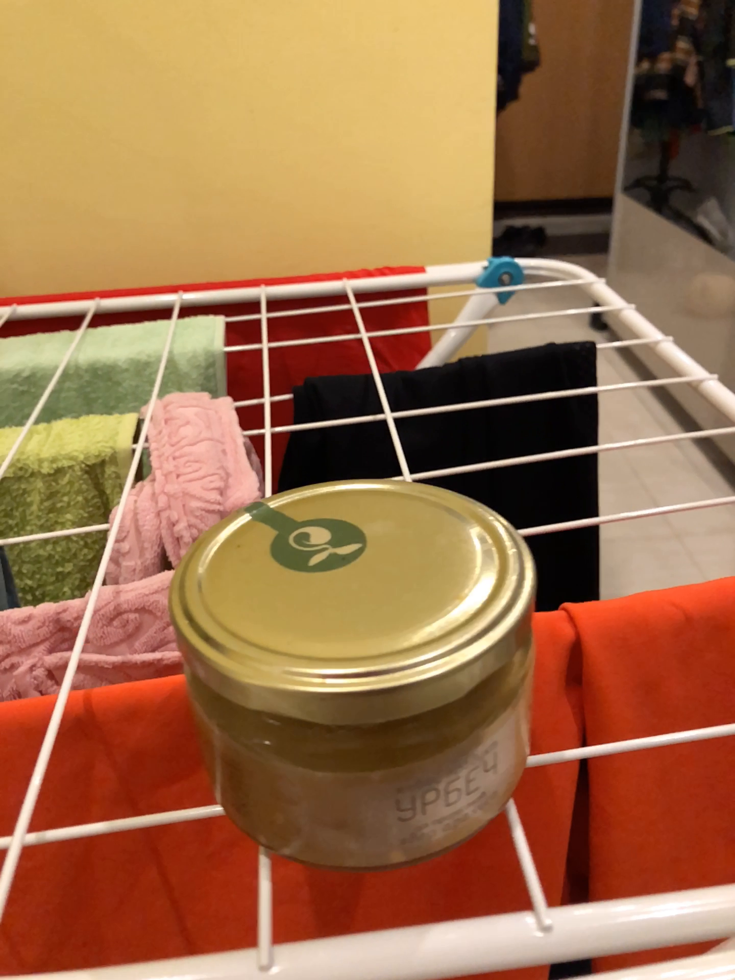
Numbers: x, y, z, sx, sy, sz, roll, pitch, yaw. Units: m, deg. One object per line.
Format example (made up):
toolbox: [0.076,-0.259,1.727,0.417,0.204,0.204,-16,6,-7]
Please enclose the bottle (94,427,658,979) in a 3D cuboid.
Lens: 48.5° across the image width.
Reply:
bottle: [-0.001,0.039,0.195,0.090,0.060,0.090,-2,30,1]
